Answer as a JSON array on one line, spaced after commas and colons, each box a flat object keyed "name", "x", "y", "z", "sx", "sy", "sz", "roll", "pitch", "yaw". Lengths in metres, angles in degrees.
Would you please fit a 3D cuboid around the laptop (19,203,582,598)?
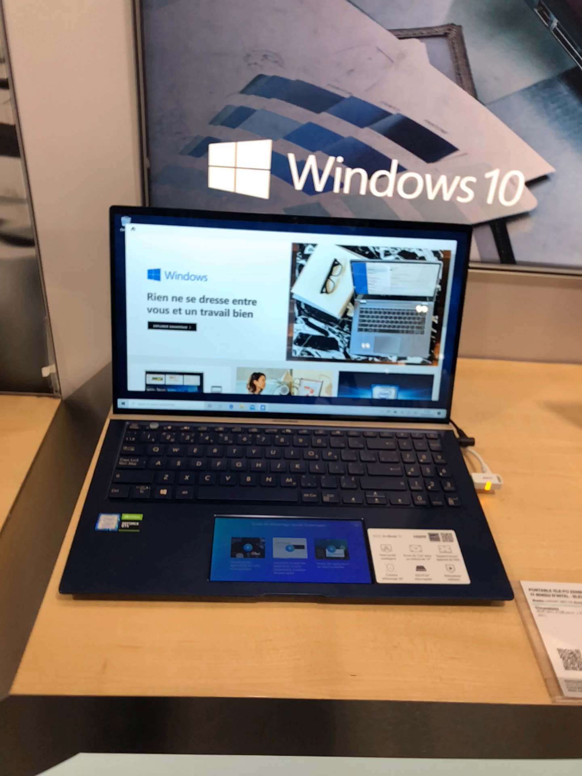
[{"name": "laptop", "x": 0.002, "y": -0.003, "z": 0.539, "sx": 0.337, "sy": 0.183, "sz": 0.275, "roll": 3, "pitch": 36, "yaw": -5}]
